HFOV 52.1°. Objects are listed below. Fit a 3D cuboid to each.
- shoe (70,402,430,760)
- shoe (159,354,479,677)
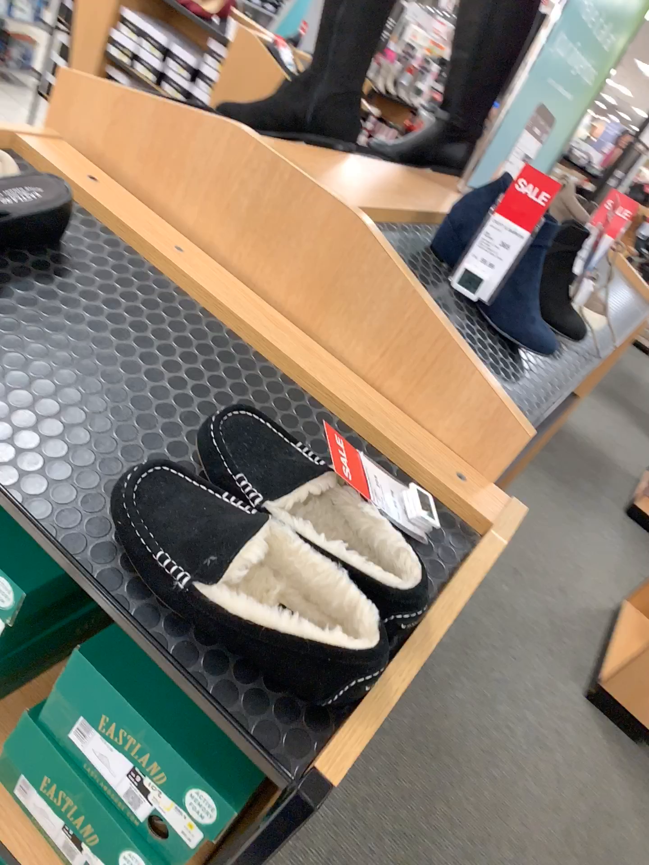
[{"bbox_3d":[-0.062,0.103,0.481,0.250,0.089,0.087,39,50,11],"label":"shoe"},{"bbox_3d":[-0.014,0.061,0.537,0.250,0.089,0.087,41,51,16],"label":"shoe"}]
